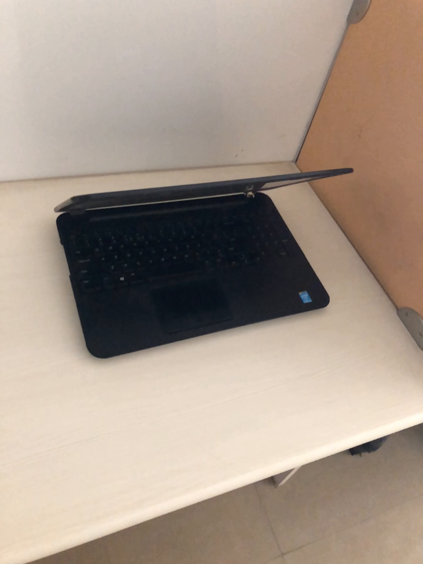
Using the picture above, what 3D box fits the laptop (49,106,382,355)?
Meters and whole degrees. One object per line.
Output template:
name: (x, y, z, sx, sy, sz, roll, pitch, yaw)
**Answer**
laptop: (-0.009, -0.091, 0.653, 0.365, 0.177, 0.248, -10, 56, -23)
